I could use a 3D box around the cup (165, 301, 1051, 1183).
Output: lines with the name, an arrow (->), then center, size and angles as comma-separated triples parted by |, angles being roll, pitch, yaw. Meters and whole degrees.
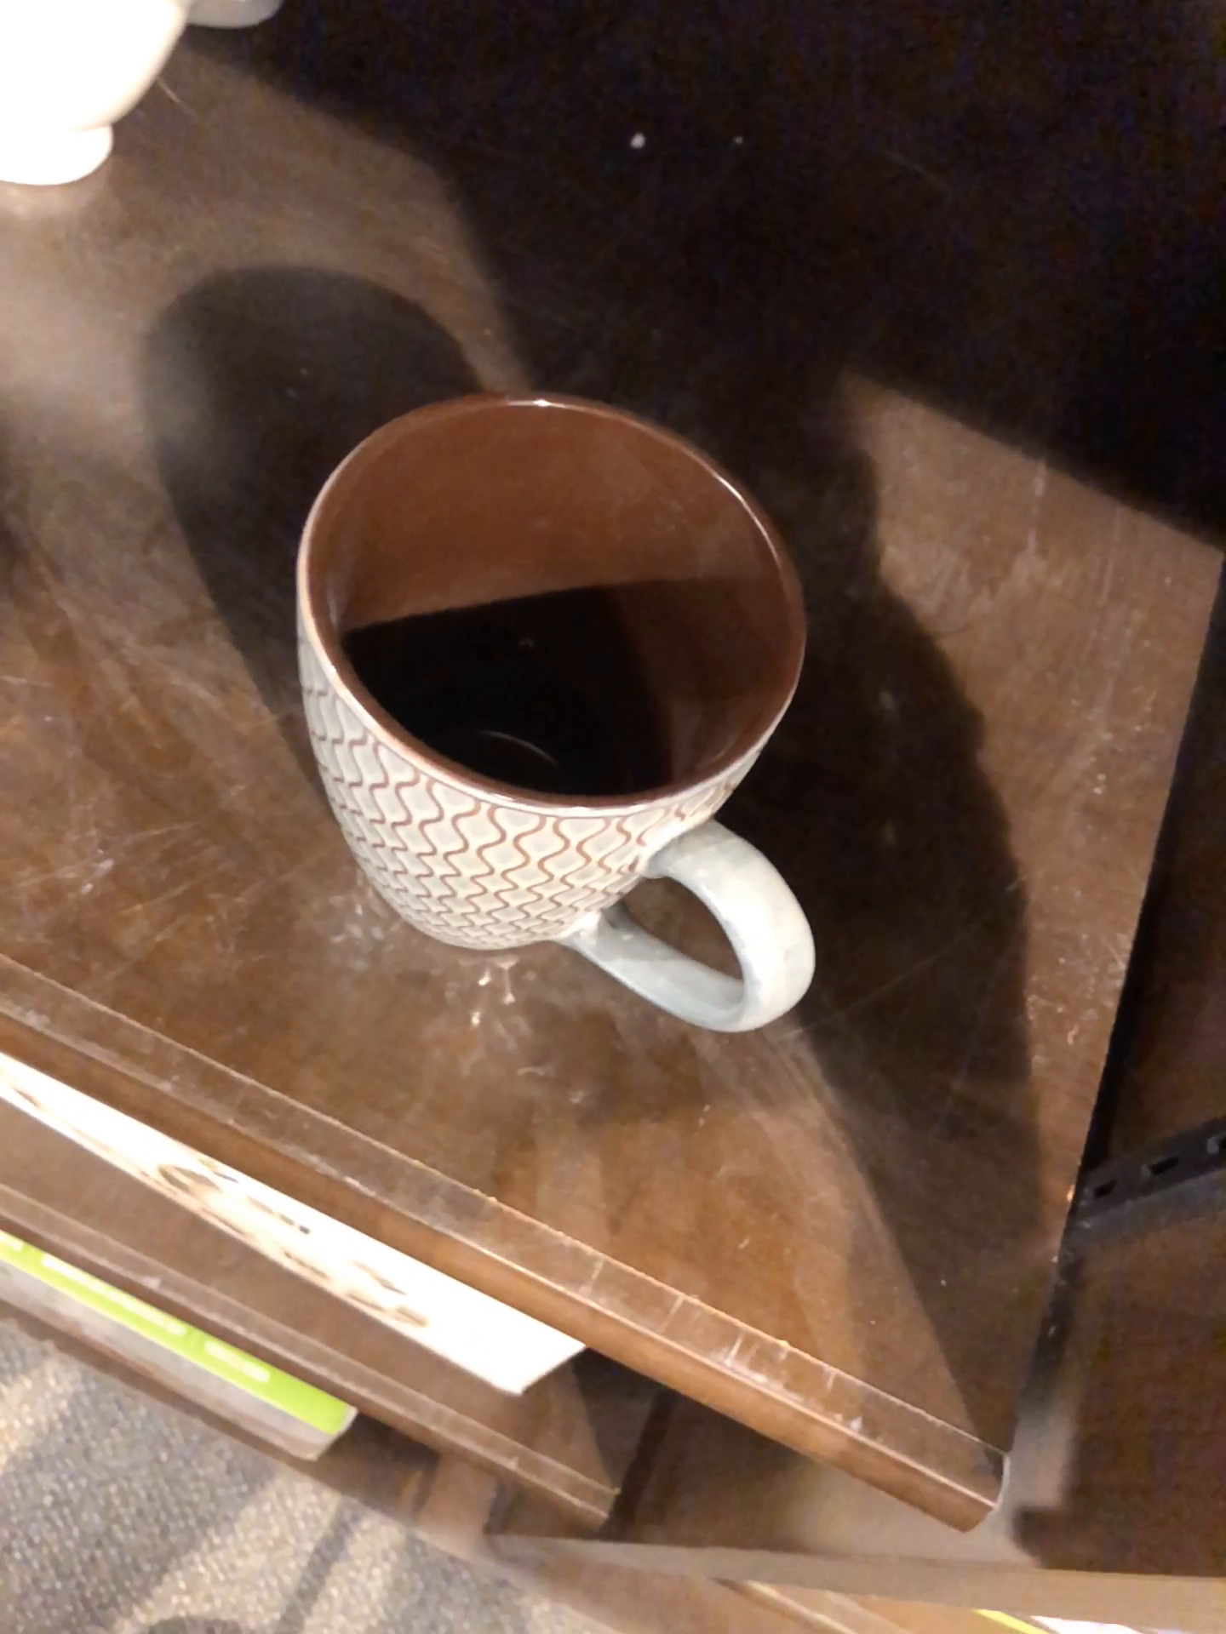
cup -> -0.006, -0.010, 0.282 | 0.132, 0.098, 0.085 | 40, 65, 8
